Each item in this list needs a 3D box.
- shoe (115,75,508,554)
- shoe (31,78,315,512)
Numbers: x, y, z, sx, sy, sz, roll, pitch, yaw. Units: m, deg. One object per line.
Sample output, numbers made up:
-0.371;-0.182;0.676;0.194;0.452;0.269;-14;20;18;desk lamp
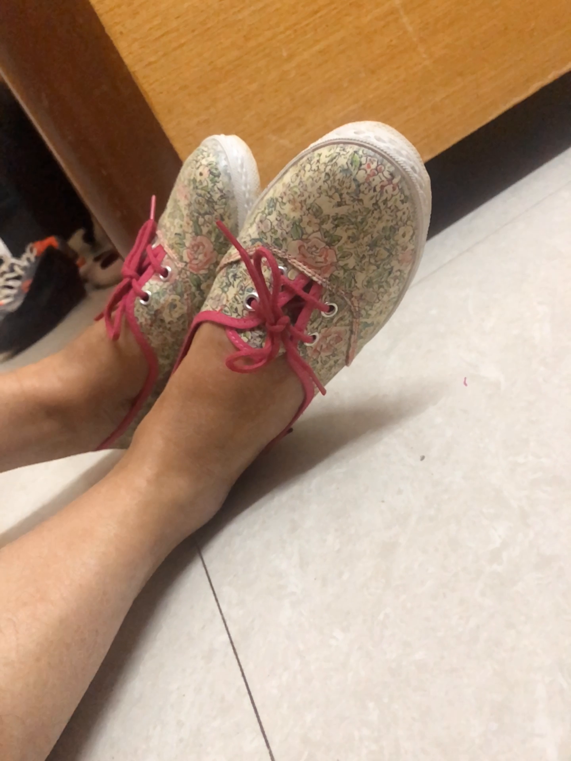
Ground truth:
-0.003;-0.018;0.353;0.259;0.090;0.070;-56;-6;38;shoe
-0.088;-0.036;0.401;0.070;0.091;0.259;-9;-38;-41;shoe
